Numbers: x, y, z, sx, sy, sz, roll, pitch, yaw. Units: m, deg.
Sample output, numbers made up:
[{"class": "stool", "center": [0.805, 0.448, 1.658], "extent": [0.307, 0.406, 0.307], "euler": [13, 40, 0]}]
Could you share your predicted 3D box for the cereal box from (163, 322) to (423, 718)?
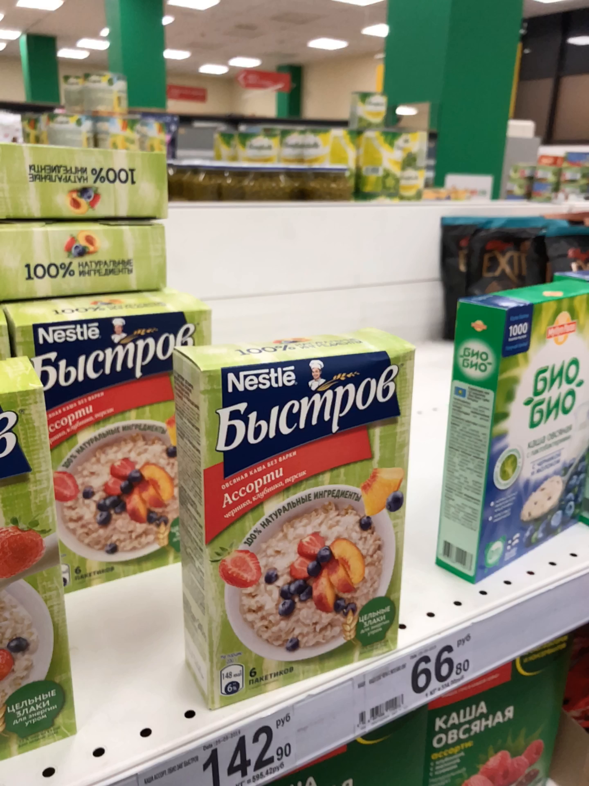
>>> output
[{"class": "cereal box", "center": [0.000, 0.067, 0.378], "extent": [0.130, 0.199, 0.050], "euler": [-7, 18, -25]}]
